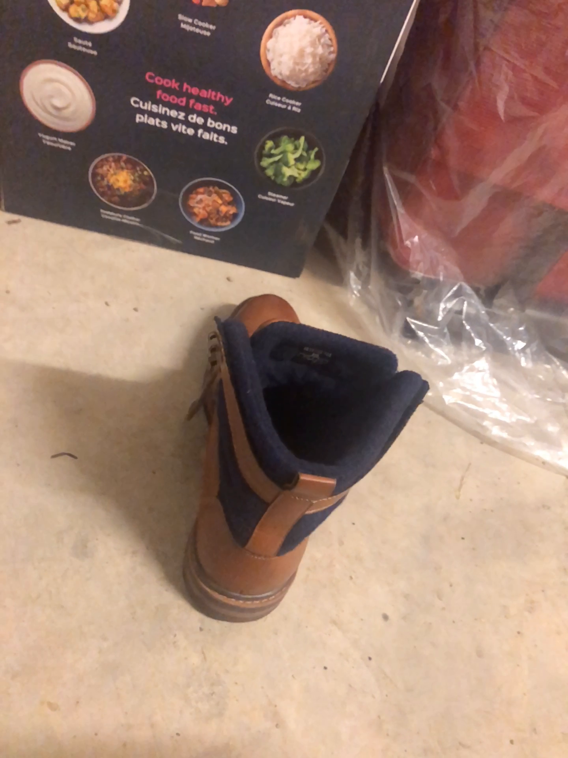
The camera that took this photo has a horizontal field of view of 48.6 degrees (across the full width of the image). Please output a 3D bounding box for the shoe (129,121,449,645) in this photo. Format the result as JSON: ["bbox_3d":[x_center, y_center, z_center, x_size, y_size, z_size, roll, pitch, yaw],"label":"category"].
[{"bbox_3d":[-0.005,0.000,0.461,0.132,0.201,0.304,13,50,-11],"label":"shoe"}]
